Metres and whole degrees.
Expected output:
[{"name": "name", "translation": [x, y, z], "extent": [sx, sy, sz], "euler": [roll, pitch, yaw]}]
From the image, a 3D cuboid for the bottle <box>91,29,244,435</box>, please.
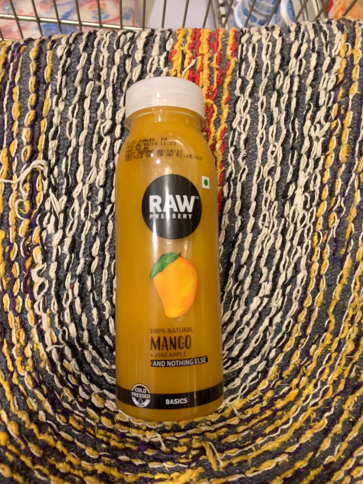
[{"name": "bottle", "translation": [-0.009, -0.007, 0.183], "extent": [0.060, 0.050, 0.170], "euler": [0, 82, -6]}]
